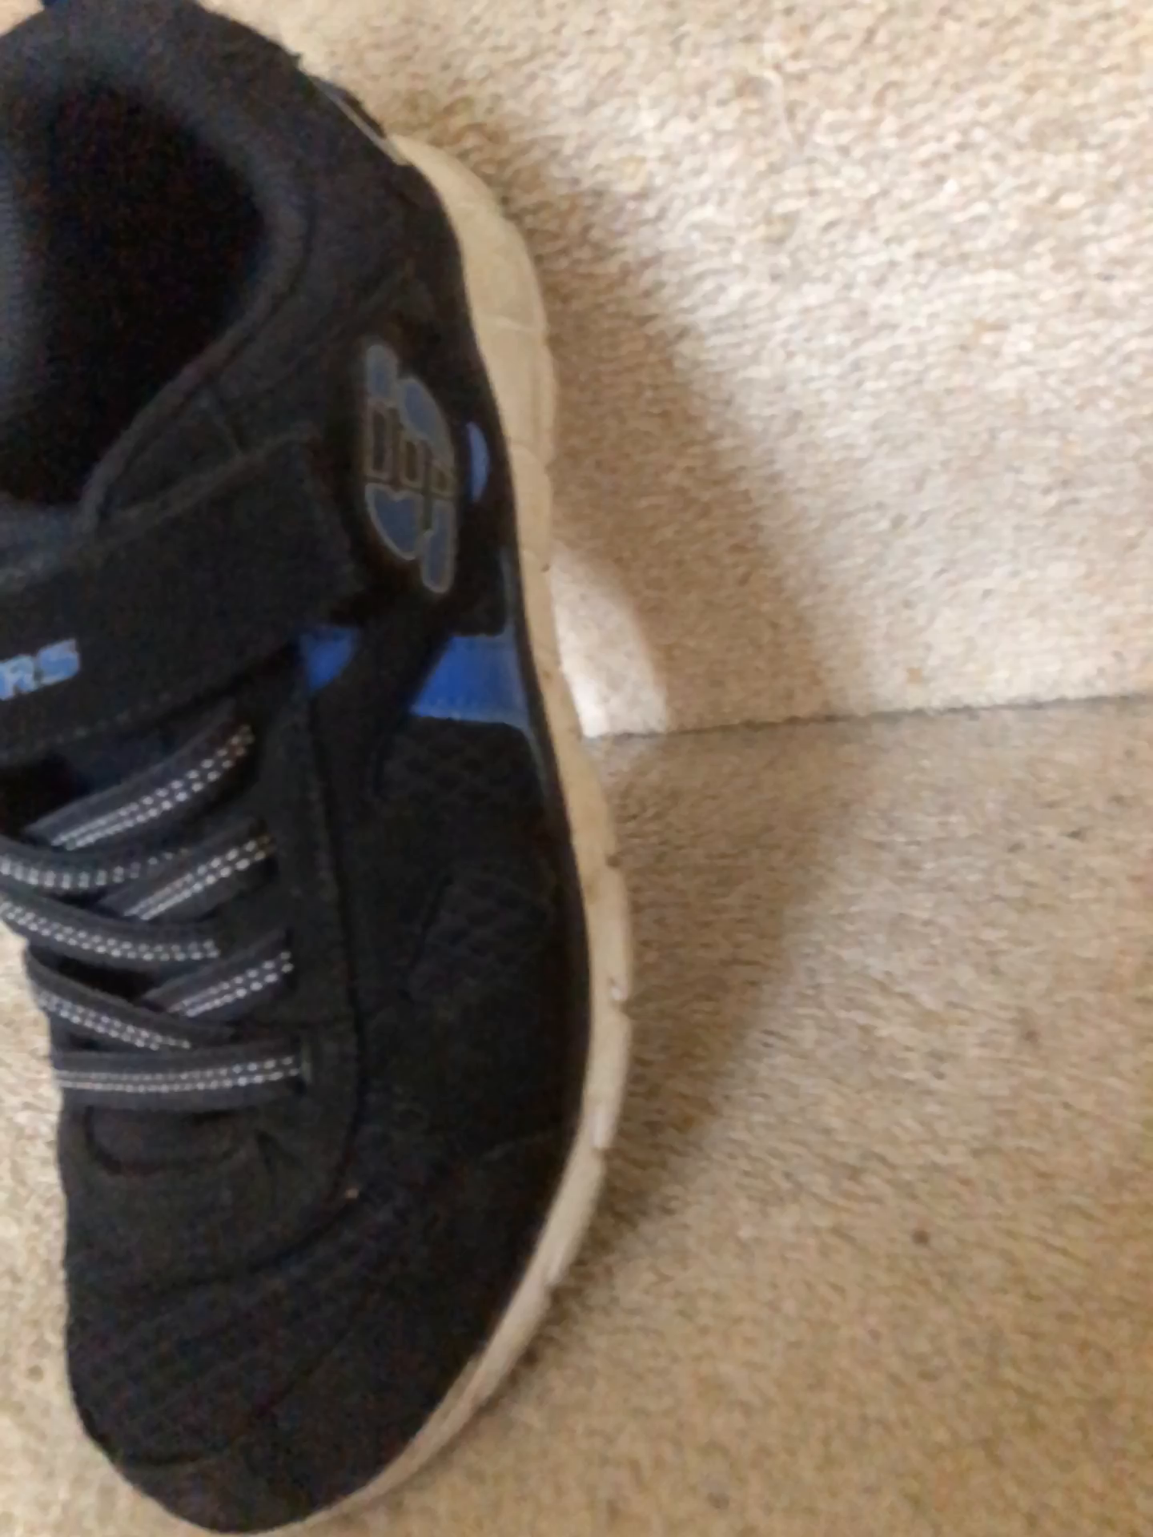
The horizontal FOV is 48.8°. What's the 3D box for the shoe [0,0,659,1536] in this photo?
[{"bbox_3d":[-0.060,-0.007,0.193,0.090,0.220,0.100,-7,-6,34],"label":"shoe"}]
